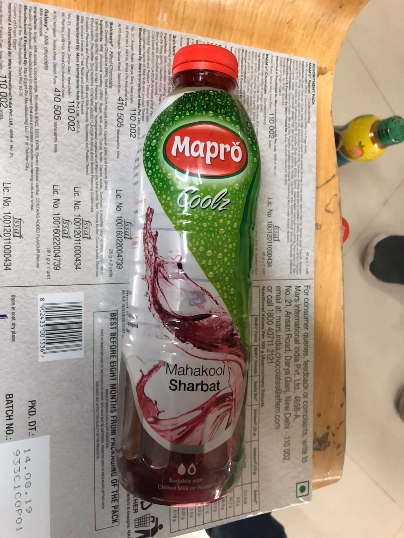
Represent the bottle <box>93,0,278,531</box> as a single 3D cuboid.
[{"bbox_3d":[-0.013,0.001,0.272,0.080,0.060,0.280,4,92,-10],"label":"bottle"}]
